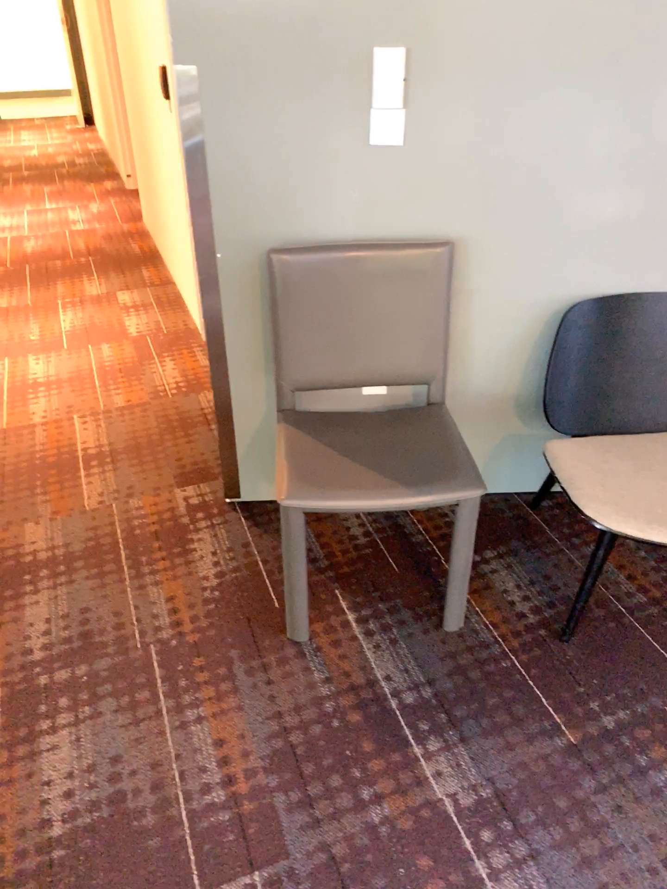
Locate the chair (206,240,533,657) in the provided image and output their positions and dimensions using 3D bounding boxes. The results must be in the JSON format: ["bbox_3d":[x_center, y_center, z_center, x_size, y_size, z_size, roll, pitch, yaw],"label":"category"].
[{"bbox_3d":[0.041,-0.014,1.830,0.640,0.835,0.694,-4,34,-5],"label":"chair"}]

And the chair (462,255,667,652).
[{"bbox_3d":[0.893,-0.001,1.964,0.790,0.835,0.714,-4,34,-5],"label":"chair"}]
